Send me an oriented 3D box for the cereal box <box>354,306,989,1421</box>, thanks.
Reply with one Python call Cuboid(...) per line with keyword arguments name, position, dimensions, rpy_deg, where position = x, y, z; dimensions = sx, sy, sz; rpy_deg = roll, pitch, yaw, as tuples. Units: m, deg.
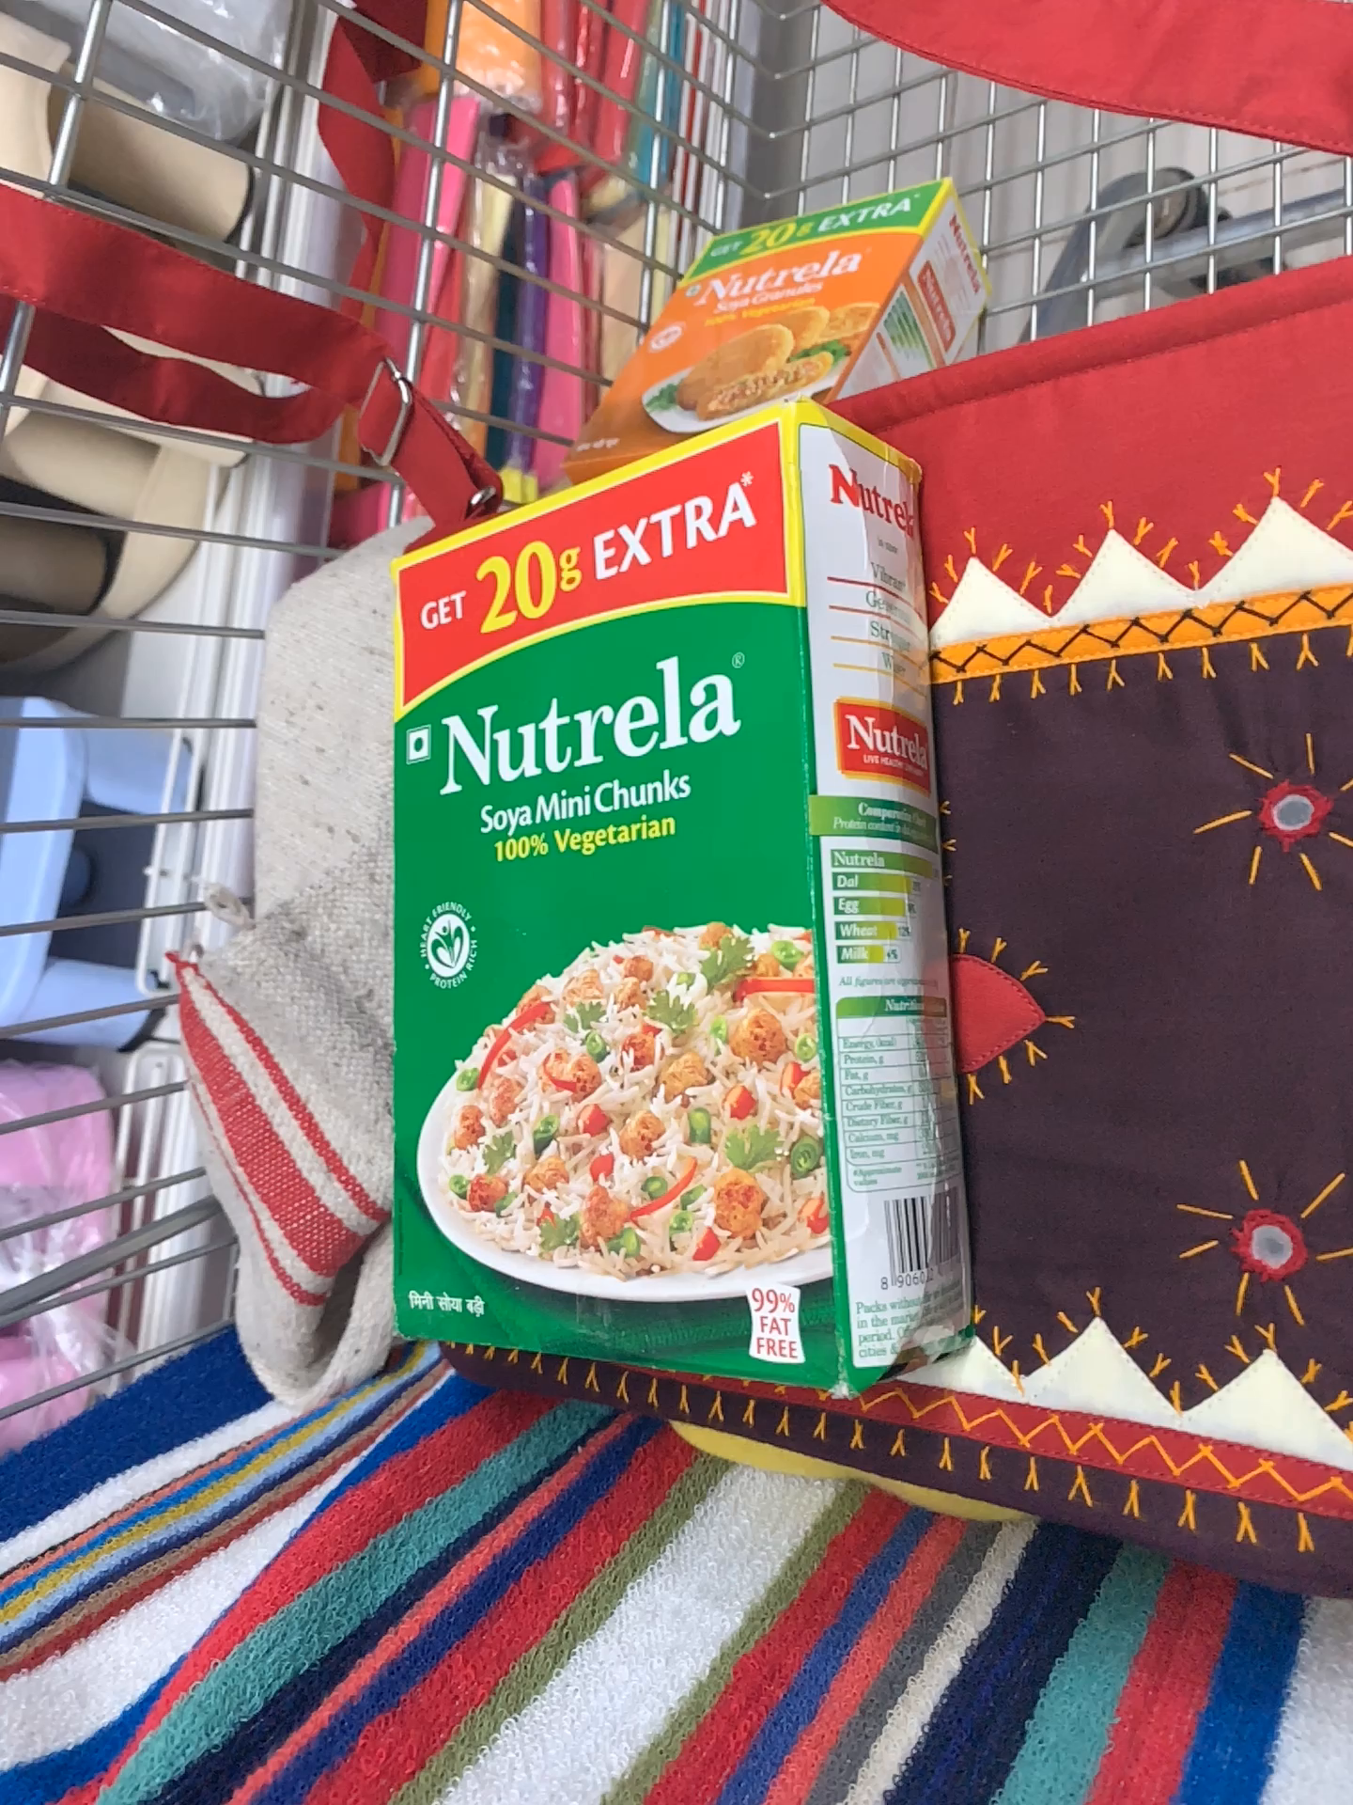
Cuboid(name="cereal box", position=(-0.008, -0.003, 0.291), dimensions=(0.121, 0.050, 0.190), rpy_deg=(-9, 80, 39))
